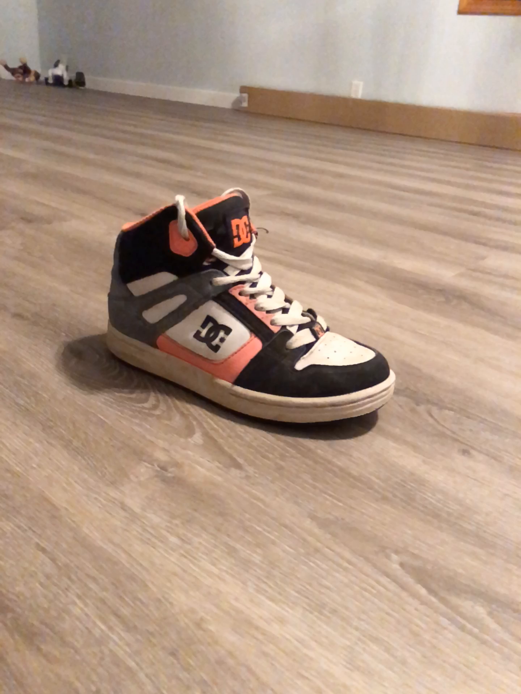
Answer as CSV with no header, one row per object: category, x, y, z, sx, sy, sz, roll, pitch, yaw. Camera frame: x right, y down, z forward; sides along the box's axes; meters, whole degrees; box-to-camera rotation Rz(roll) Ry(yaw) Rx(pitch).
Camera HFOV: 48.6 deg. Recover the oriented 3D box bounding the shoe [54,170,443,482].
shoe,-0.019,-0.031,0.401,0.240,0.139,0.090,17,26,25
